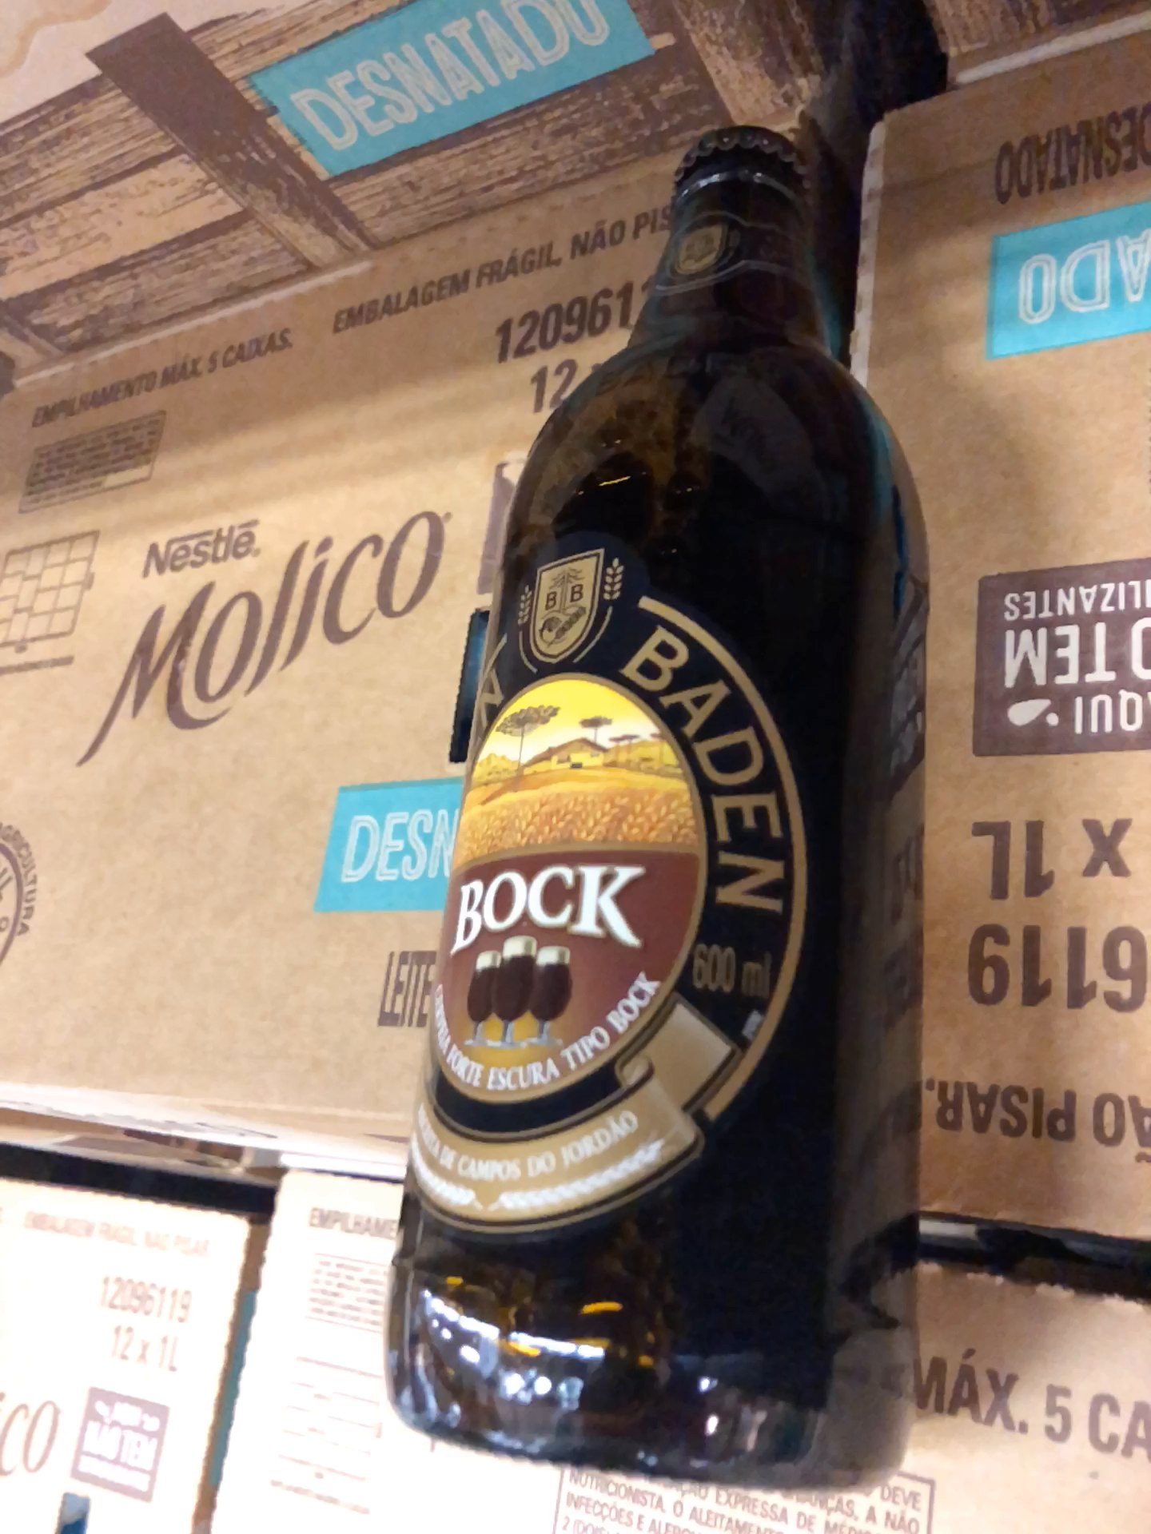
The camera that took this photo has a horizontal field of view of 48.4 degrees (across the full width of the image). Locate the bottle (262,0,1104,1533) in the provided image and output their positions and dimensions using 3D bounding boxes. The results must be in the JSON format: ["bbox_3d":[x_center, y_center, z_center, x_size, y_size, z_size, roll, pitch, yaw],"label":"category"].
[{"bbox_3d":[0.029,-0.011,0.194,0.080,0.070,0.230,-5,67,30],"label":"bottle"}]
